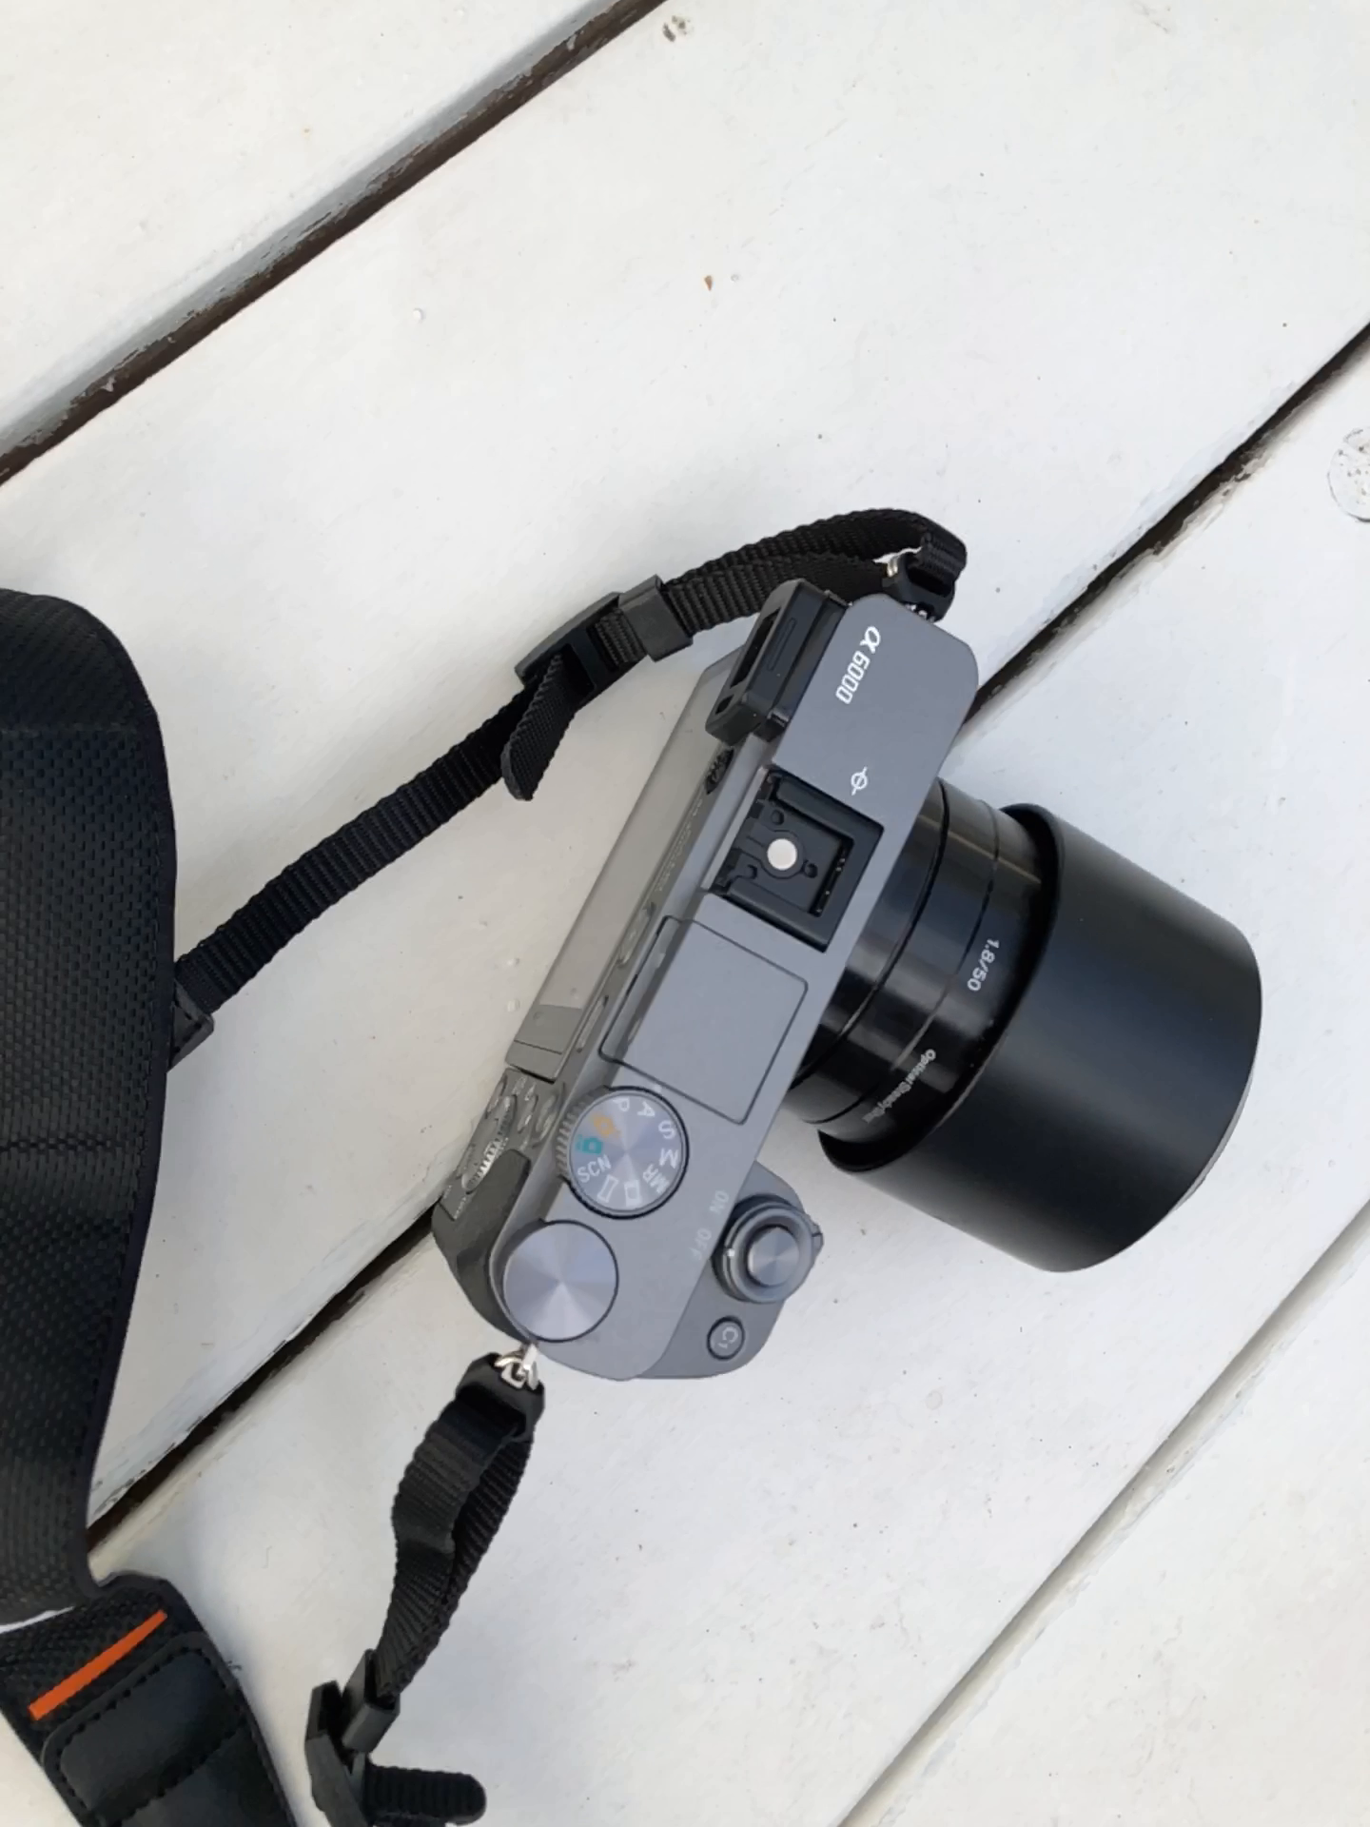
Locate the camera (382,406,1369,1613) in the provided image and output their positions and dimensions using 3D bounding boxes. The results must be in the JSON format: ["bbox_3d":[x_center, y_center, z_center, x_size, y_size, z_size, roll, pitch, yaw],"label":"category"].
[{"bbox_3d":[0.035,0.016,0.253,0.110,0.070,0.140,28,78,-14],"label":"camera"}]
